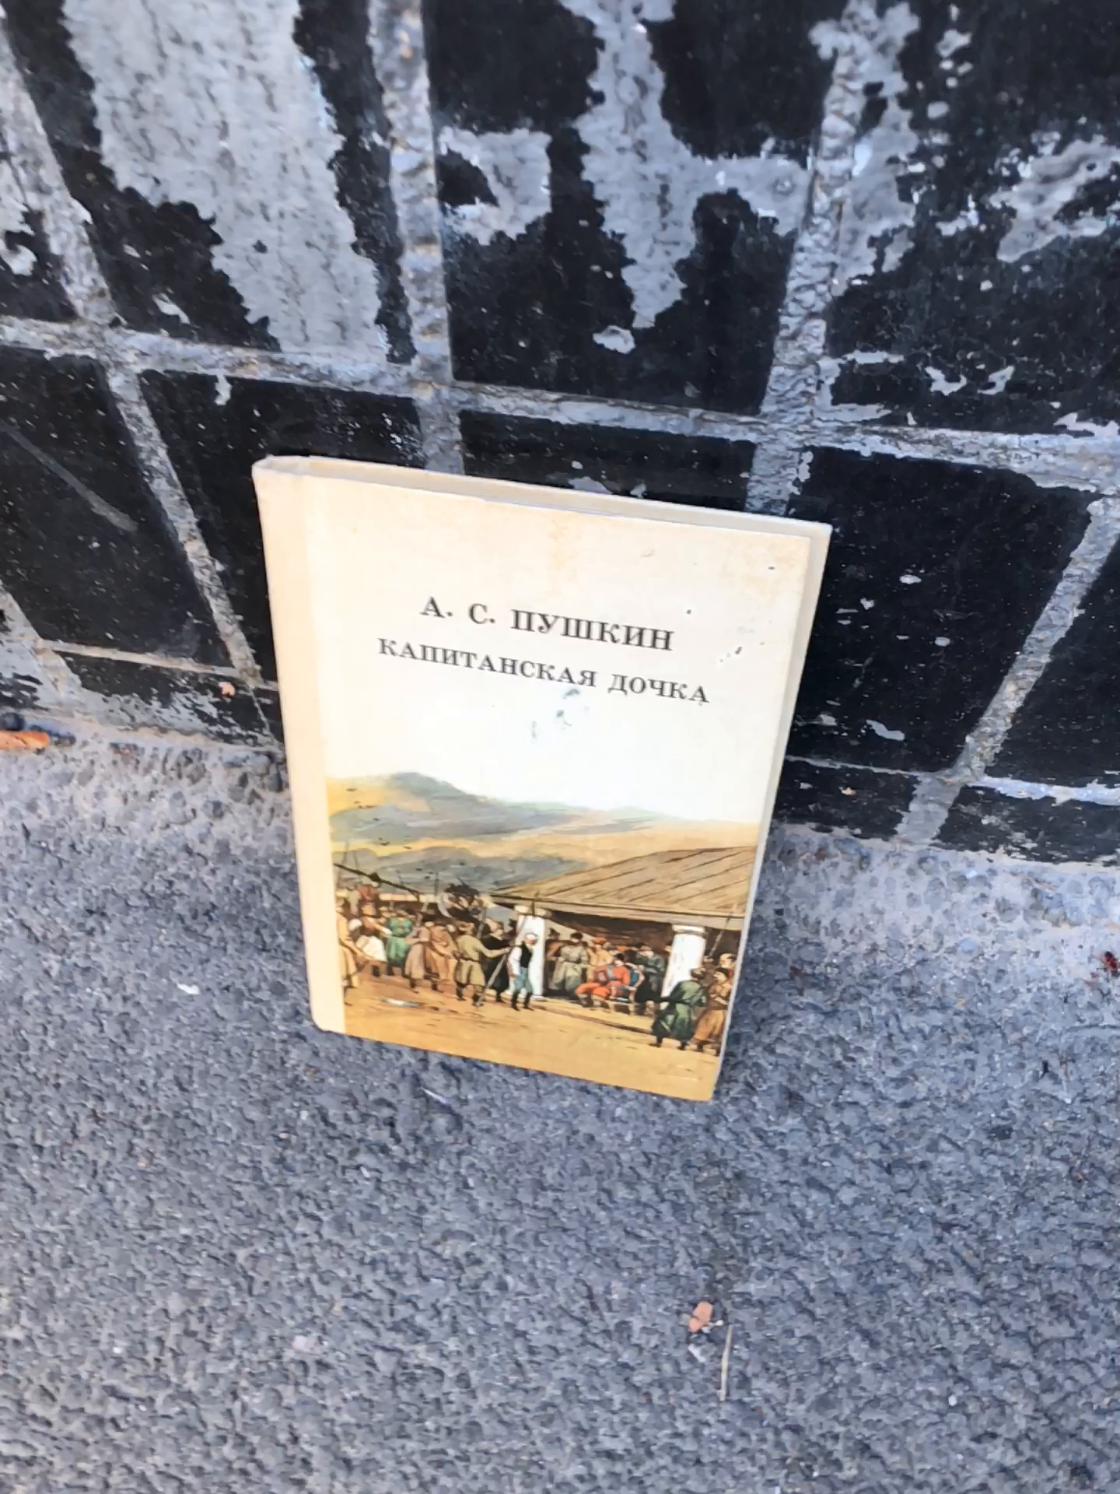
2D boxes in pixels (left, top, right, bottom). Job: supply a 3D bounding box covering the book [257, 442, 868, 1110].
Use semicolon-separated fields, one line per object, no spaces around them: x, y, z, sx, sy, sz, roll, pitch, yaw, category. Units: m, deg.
-0.007;0.023;0.374;0.150;0.214;0.020;9;38;5;book
